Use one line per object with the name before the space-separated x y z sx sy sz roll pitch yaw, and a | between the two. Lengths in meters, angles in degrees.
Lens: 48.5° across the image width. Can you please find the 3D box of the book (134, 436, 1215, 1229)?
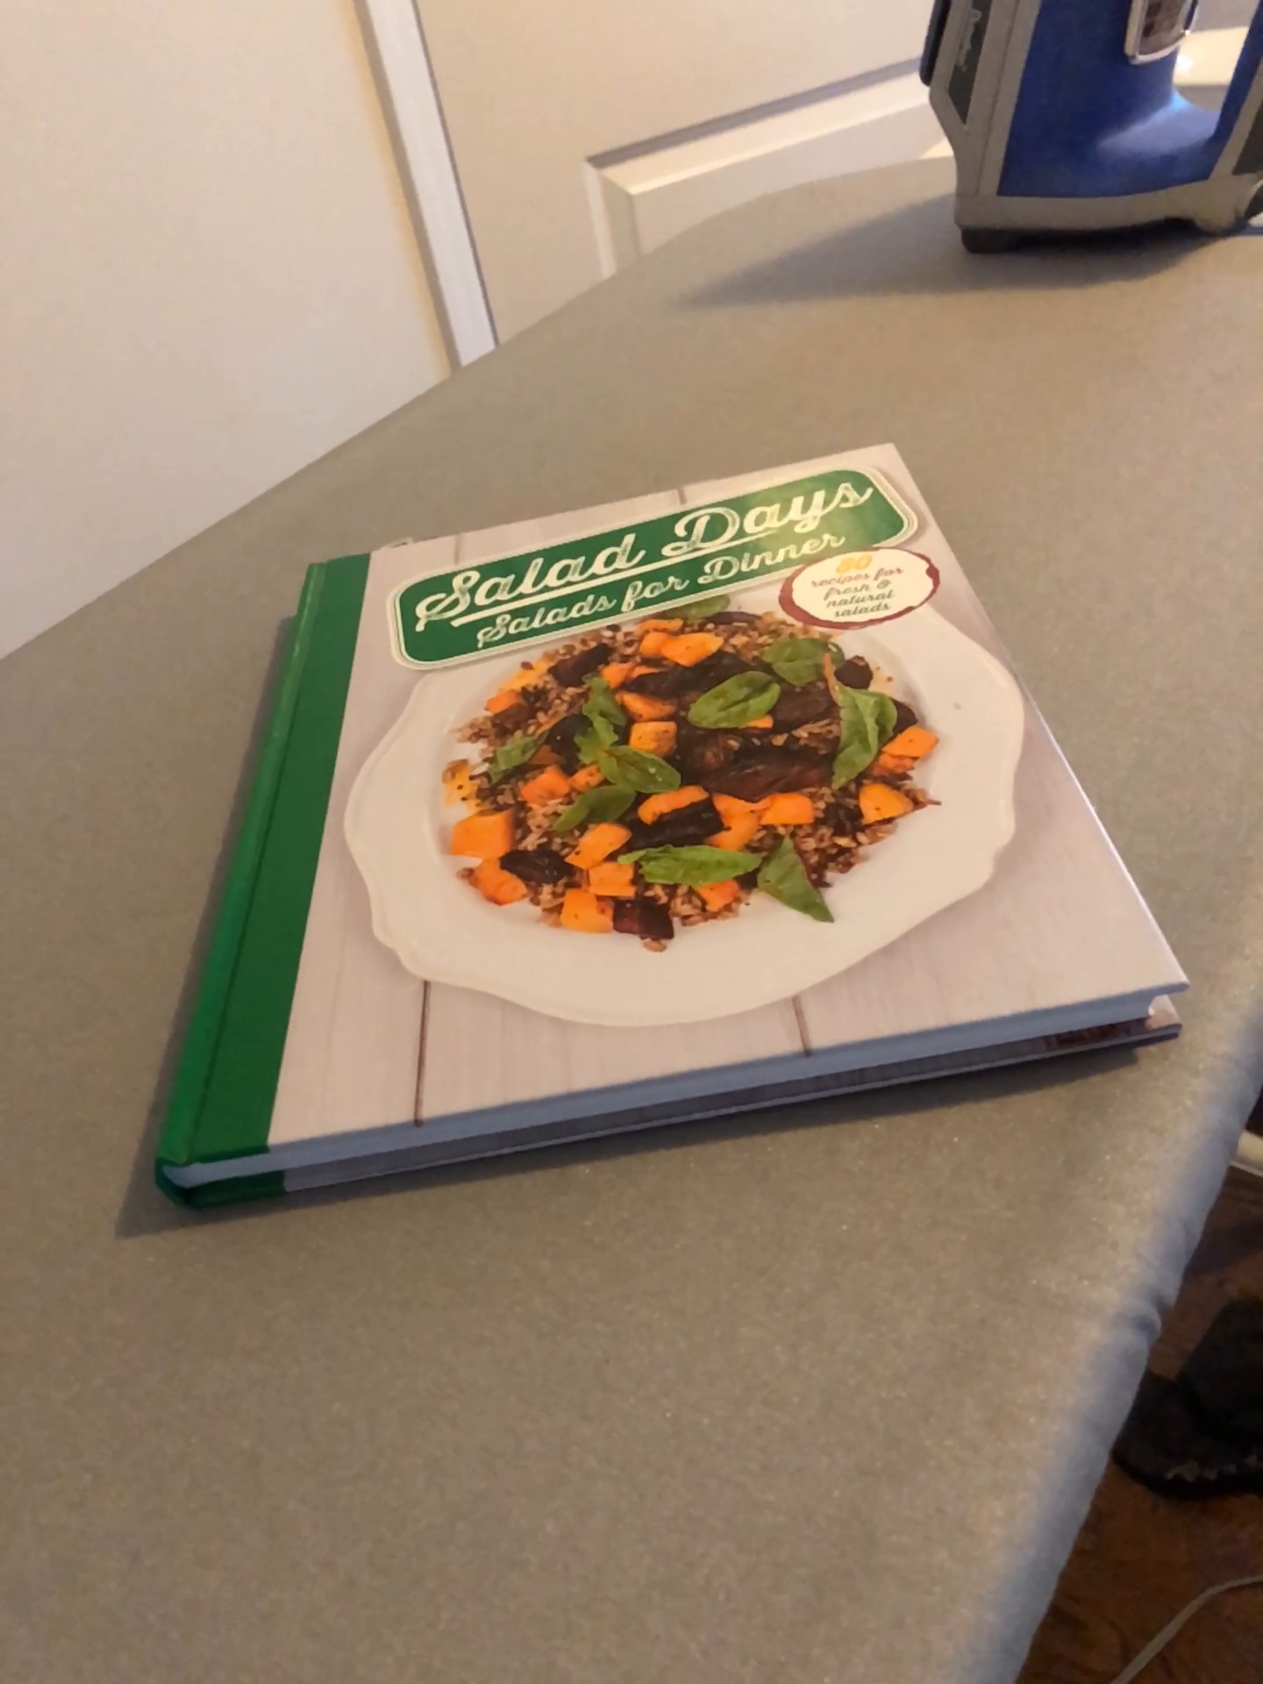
book | -0.002 -0.030 0.388 0.213 0.020 0.276 -10 37 3
